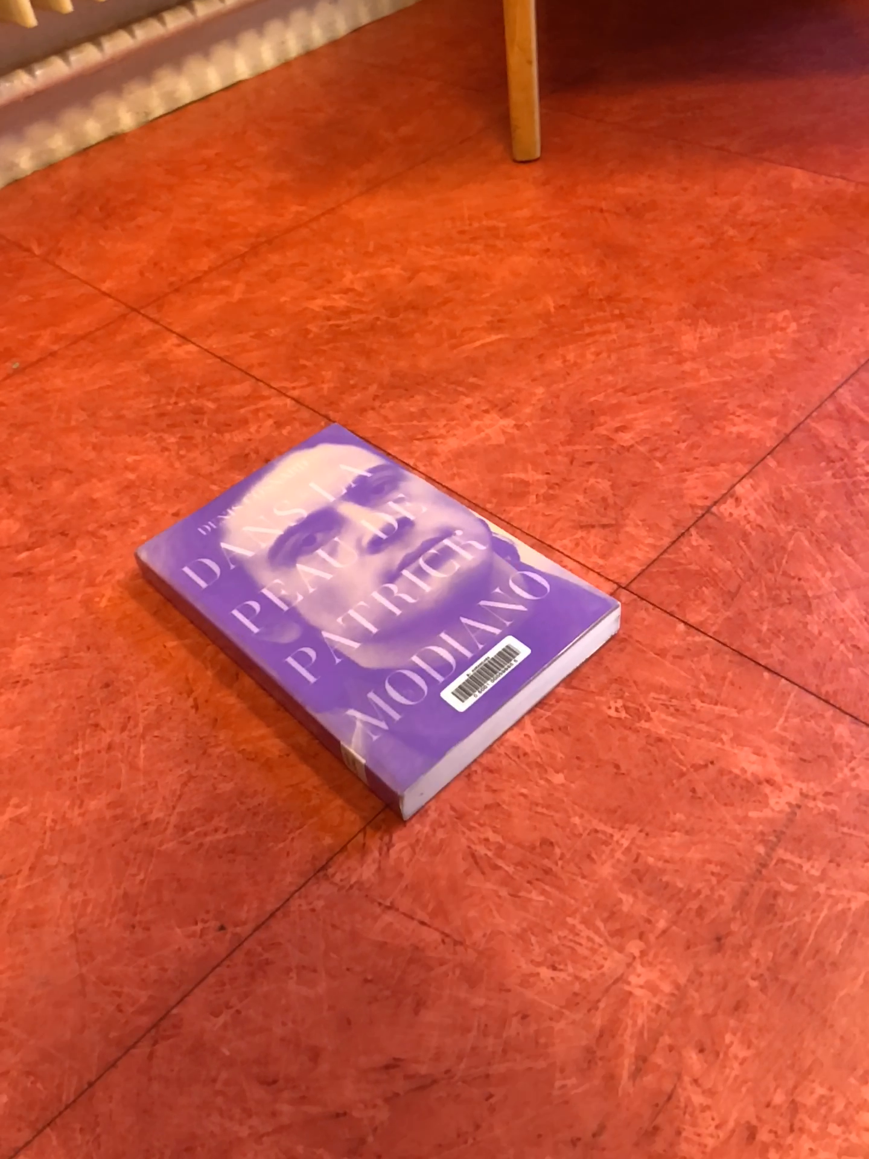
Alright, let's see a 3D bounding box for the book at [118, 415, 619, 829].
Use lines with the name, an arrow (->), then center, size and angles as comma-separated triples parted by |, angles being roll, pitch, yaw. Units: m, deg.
book -> -0.042, 0.004, 0.512 | 0.151, 0.030, 0.233 | -37, 52, -25
